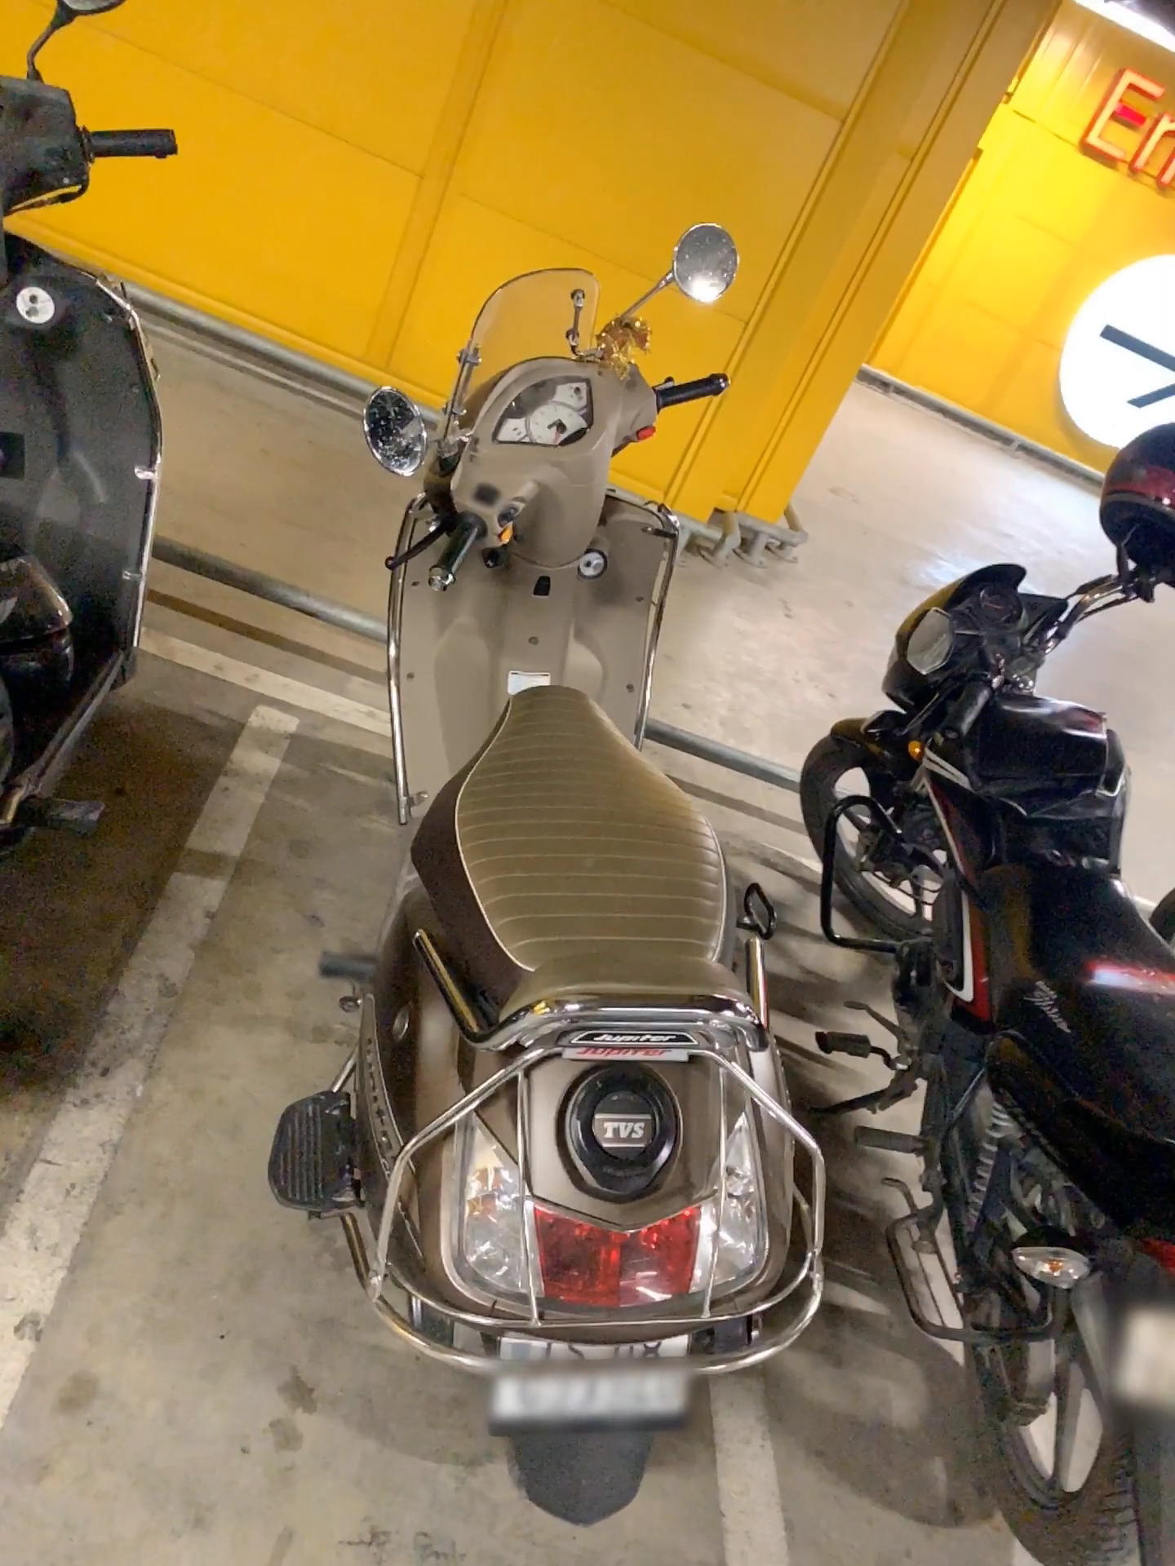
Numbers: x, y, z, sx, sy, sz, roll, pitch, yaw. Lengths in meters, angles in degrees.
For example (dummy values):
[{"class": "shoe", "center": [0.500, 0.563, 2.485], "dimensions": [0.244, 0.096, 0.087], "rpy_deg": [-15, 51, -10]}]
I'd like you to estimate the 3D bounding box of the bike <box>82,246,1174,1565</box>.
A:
[{"class": "bike", "center": [-0.191, 0.021, 1.669], "dimensions": [0.603, 1.027, 1.562], "rpy_deg": [14, 29, -22]}]
